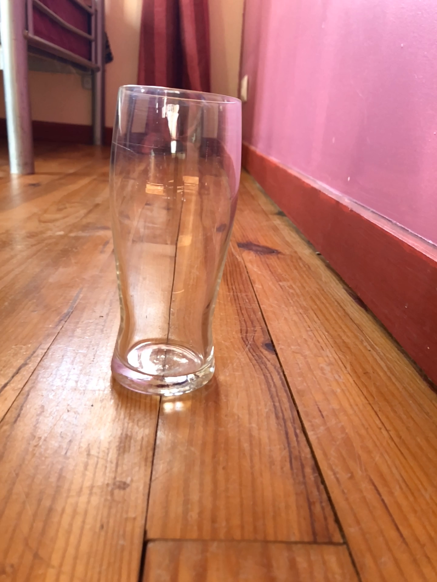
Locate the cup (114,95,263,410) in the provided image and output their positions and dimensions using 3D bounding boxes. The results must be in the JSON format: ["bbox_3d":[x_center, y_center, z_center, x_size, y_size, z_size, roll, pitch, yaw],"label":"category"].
[{"bbox_3d":[-0.022,-0.020,0.252,0.060,0.143,0.064,4,16,-1],"label":"cup"}]
